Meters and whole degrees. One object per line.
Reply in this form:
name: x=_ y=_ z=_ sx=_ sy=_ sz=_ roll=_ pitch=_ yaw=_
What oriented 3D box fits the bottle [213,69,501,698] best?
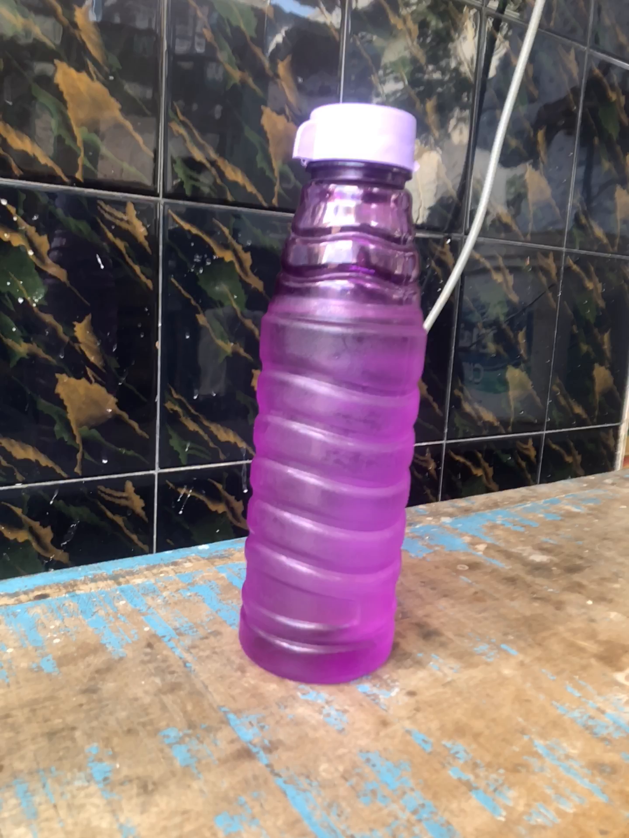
bottle: x=0.011 y=-0.013 z=0.315 sx=0.090 sy=0.239 sz=0.080 roll=-1 pitch=11 yaw=-22
